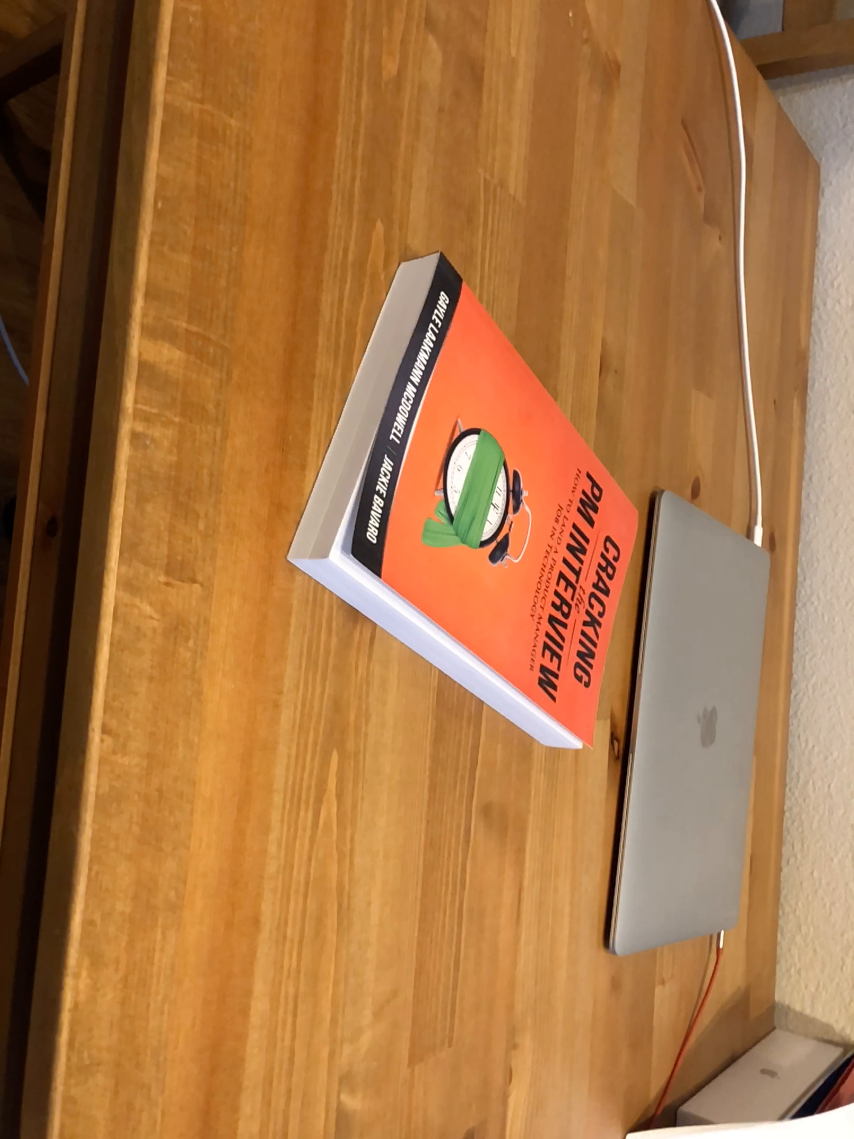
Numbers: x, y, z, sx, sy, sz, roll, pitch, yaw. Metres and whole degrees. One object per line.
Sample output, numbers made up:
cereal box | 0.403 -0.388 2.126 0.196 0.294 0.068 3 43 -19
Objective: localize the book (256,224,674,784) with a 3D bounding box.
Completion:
book | 0.042 -0.013 0.461 0.252 0.040 0.160 40 60 -46
